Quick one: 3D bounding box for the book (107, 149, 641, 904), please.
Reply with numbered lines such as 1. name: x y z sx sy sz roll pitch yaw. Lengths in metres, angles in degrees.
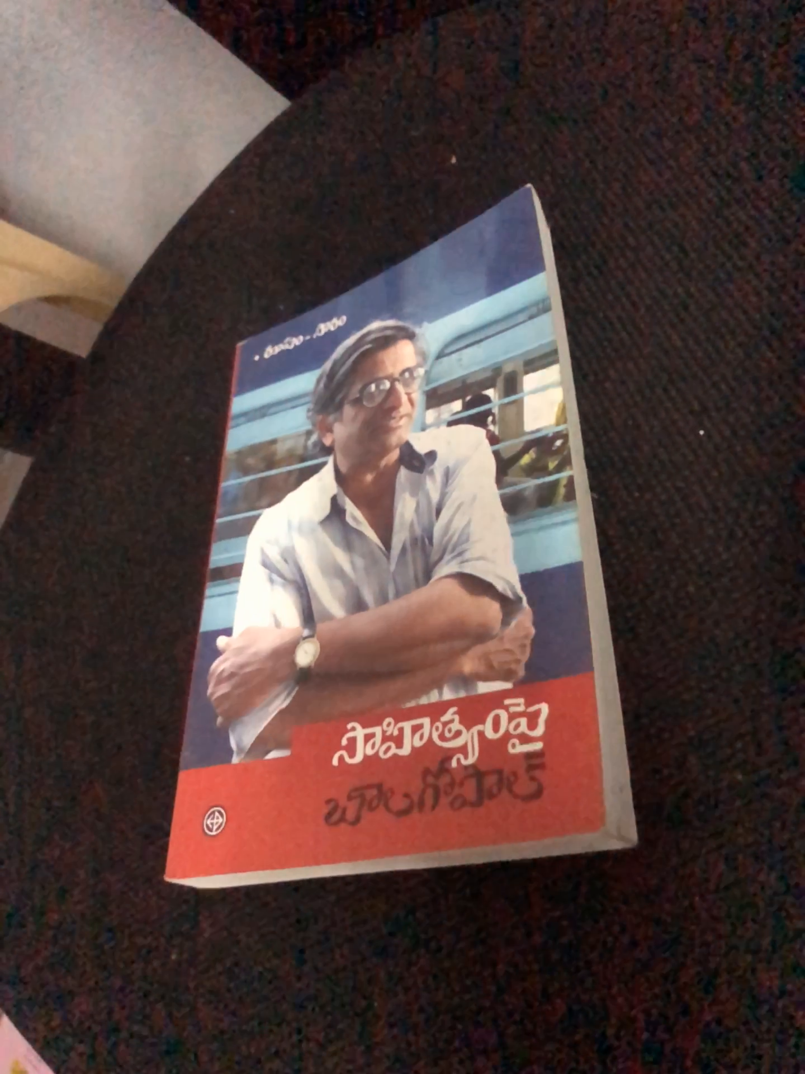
1. book: -0.015 -0.007 0.293 0.152 0.030 0.225 -17 57 28
